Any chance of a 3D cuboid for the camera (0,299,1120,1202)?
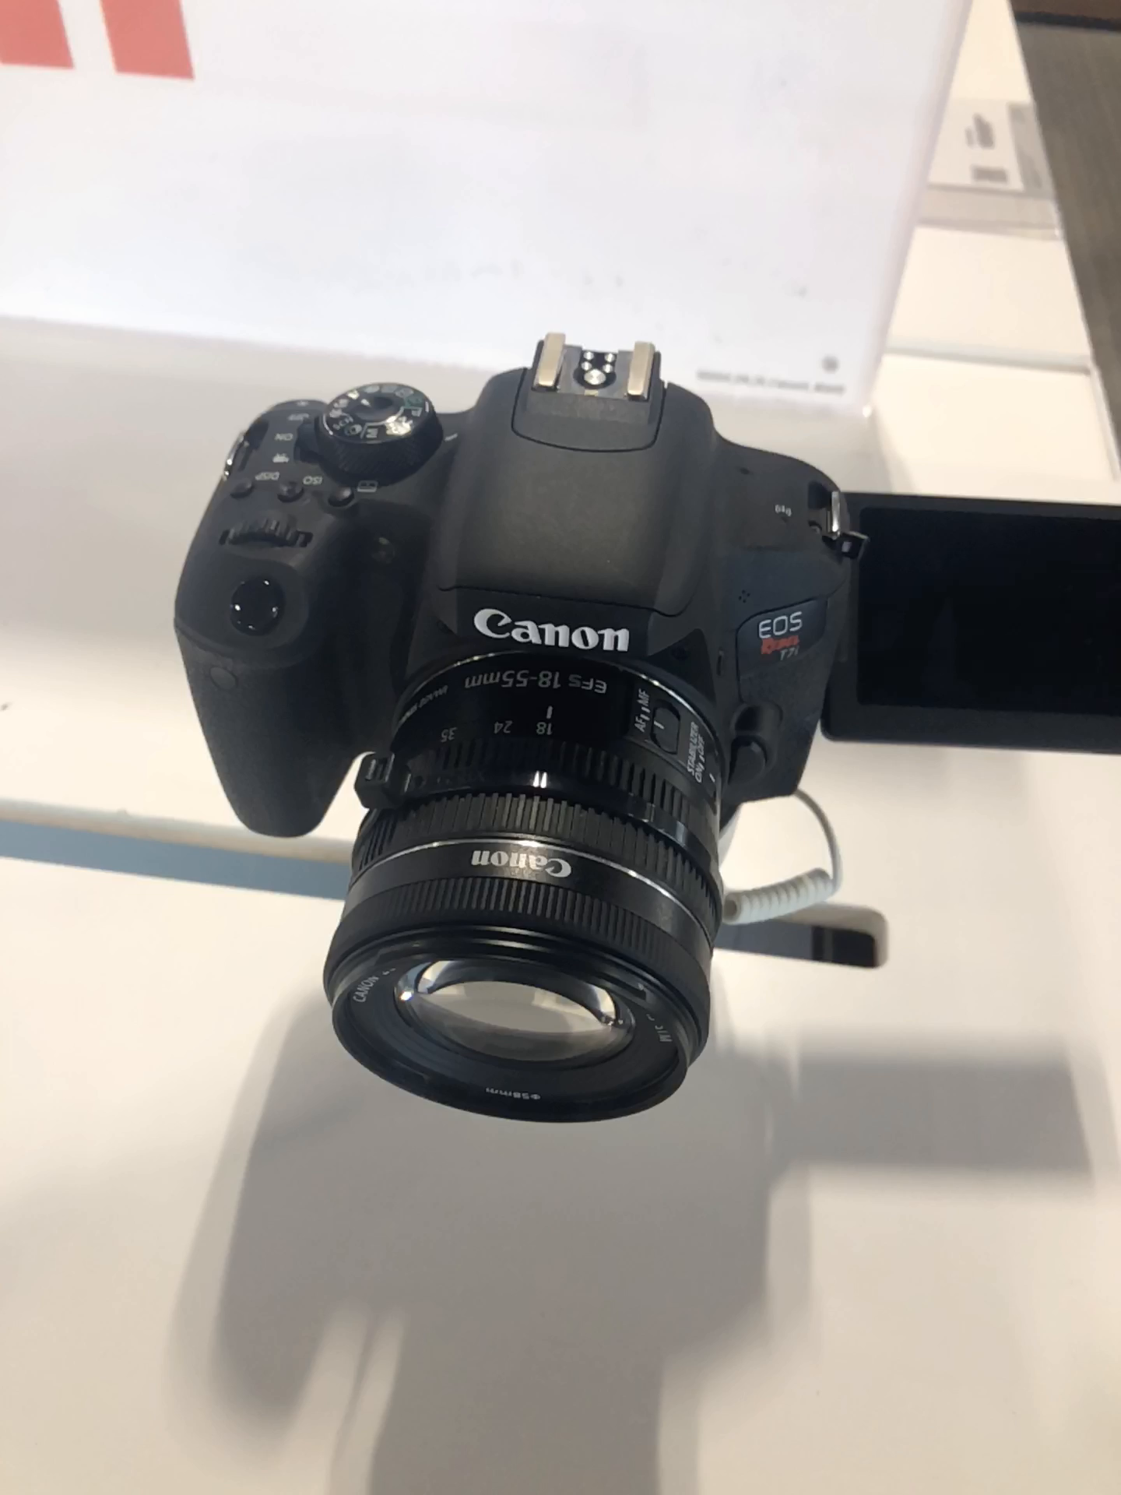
[{"bbox_3d":[0.031,0.000,0.233,0.210,0.099,0.111,6,50,3],"label":"camera"}]
